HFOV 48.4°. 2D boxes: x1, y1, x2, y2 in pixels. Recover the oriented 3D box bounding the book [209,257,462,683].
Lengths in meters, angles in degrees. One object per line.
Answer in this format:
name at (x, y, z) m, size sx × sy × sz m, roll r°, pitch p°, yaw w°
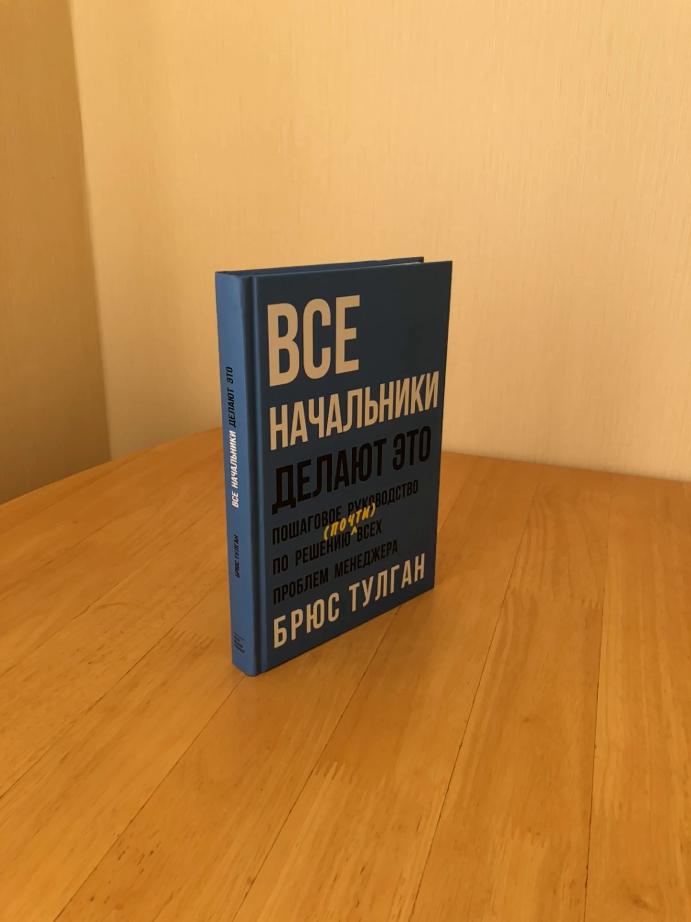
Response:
book at (0.000, -0.002, 0.425) m, size 0.150 × 0.208 × 0.025 m, roll -16°, pitch 25°, yaw -40°
